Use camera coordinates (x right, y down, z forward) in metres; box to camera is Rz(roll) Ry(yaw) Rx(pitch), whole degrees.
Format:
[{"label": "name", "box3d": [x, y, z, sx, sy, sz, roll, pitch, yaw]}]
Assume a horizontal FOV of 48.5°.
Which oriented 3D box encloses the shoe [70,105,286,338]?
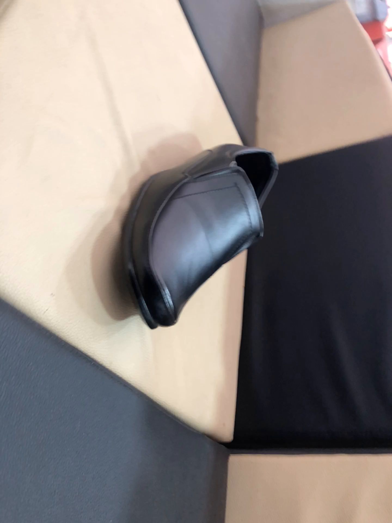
[{"label": "shoe", "box3d": [0.012, -0.060, 0.434, 0.291, 0.099, 0.100, -61, 137, -54]}]
